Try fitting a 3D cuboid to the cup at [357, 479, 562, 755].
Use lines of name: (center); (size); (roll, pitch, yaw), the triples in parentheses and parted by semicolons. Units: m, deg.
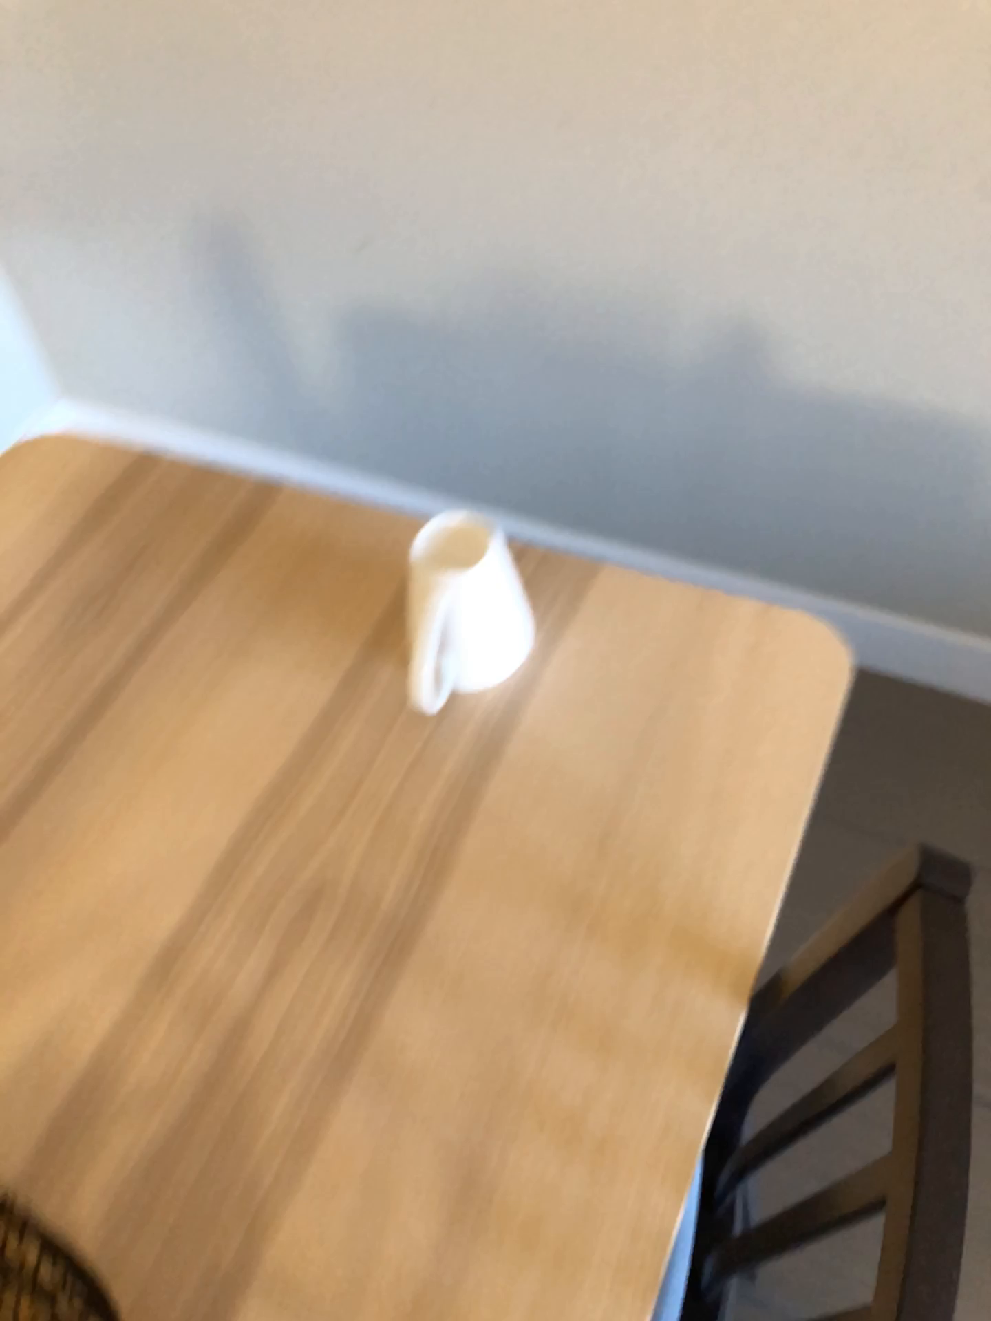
cup: (-0.019, -0.032, 0.799); (0.100, 0.120, 0.140); (10, 53, 13)
